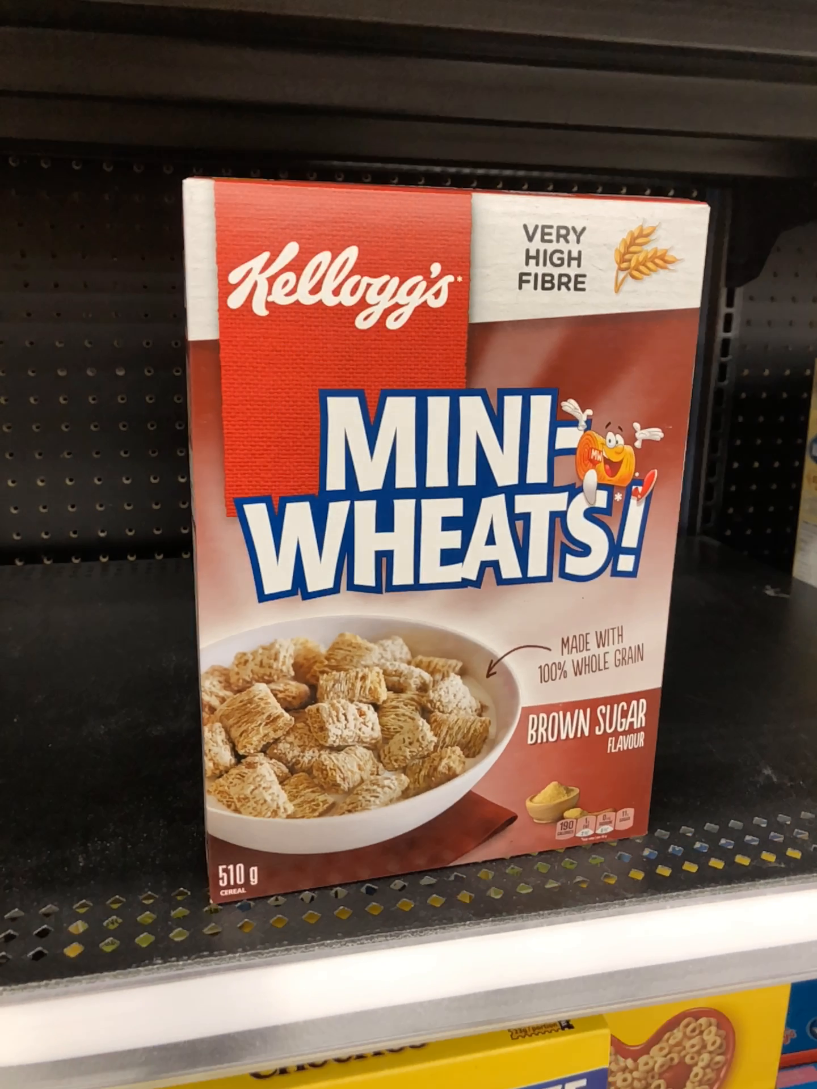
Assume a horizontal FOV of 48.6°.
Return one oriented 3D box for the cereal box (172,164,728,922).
[{"bbox_3d":[0.013,0.001,0.375,0.200,0.279,0.060,-3,15,-15],"label":"cereal box"}]
